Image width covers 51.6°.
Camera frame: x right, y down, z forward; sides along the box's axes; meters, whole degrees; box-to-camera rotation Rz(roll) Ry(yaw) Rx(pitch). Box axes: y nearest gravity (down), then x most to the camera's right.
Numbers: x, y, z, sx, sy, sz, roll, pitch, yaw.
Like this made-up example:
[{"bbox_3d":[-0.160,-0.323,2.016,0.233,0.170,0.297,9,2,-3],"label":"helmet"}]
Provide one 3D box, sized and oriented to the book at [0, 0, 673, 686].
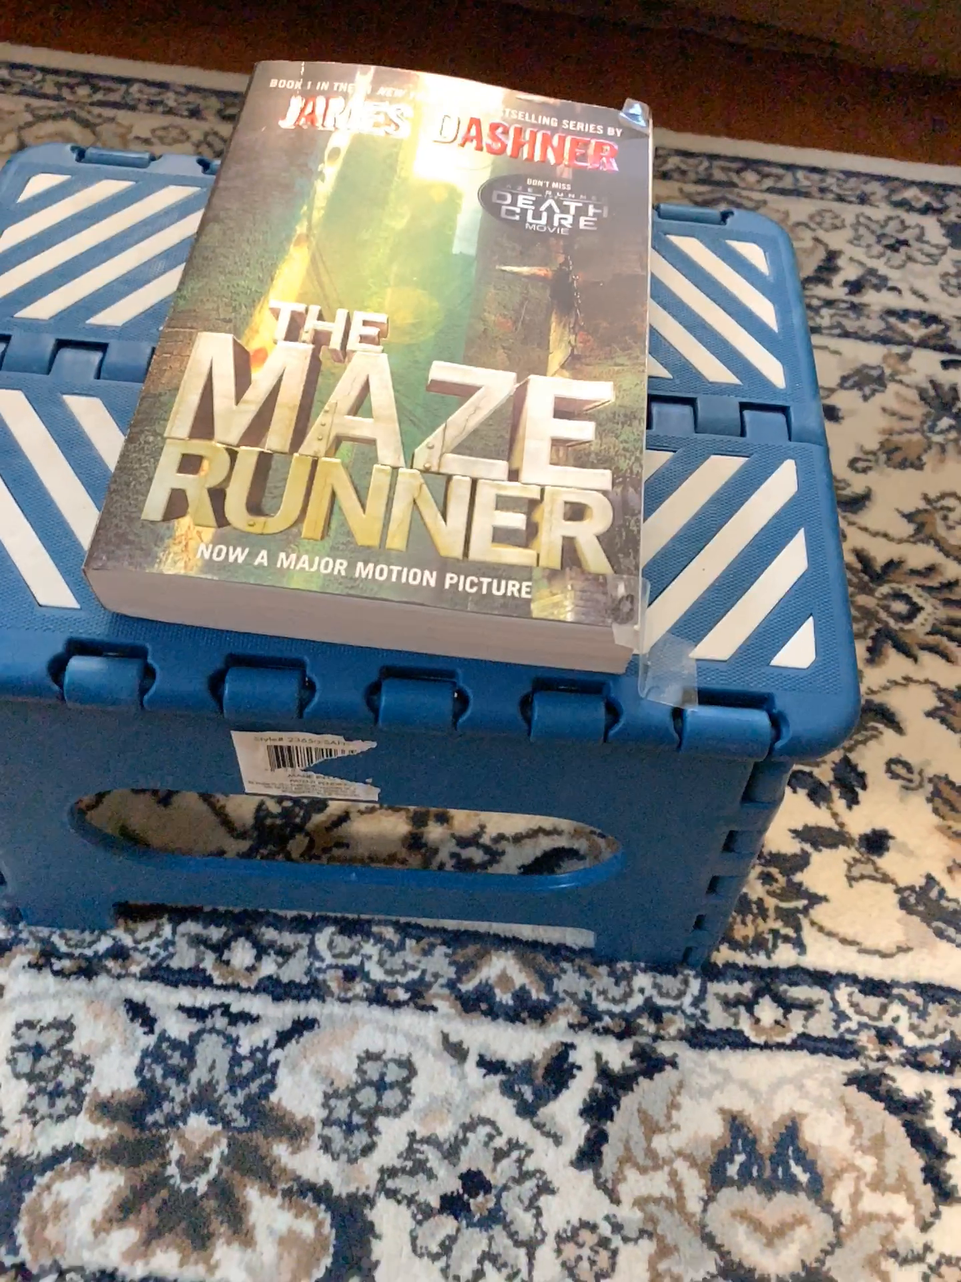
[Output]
[{"bbox_3d":[-0.022,-0.105,0.294,0.150,0.030,0.232,7,60,0],"label":"book"}]
